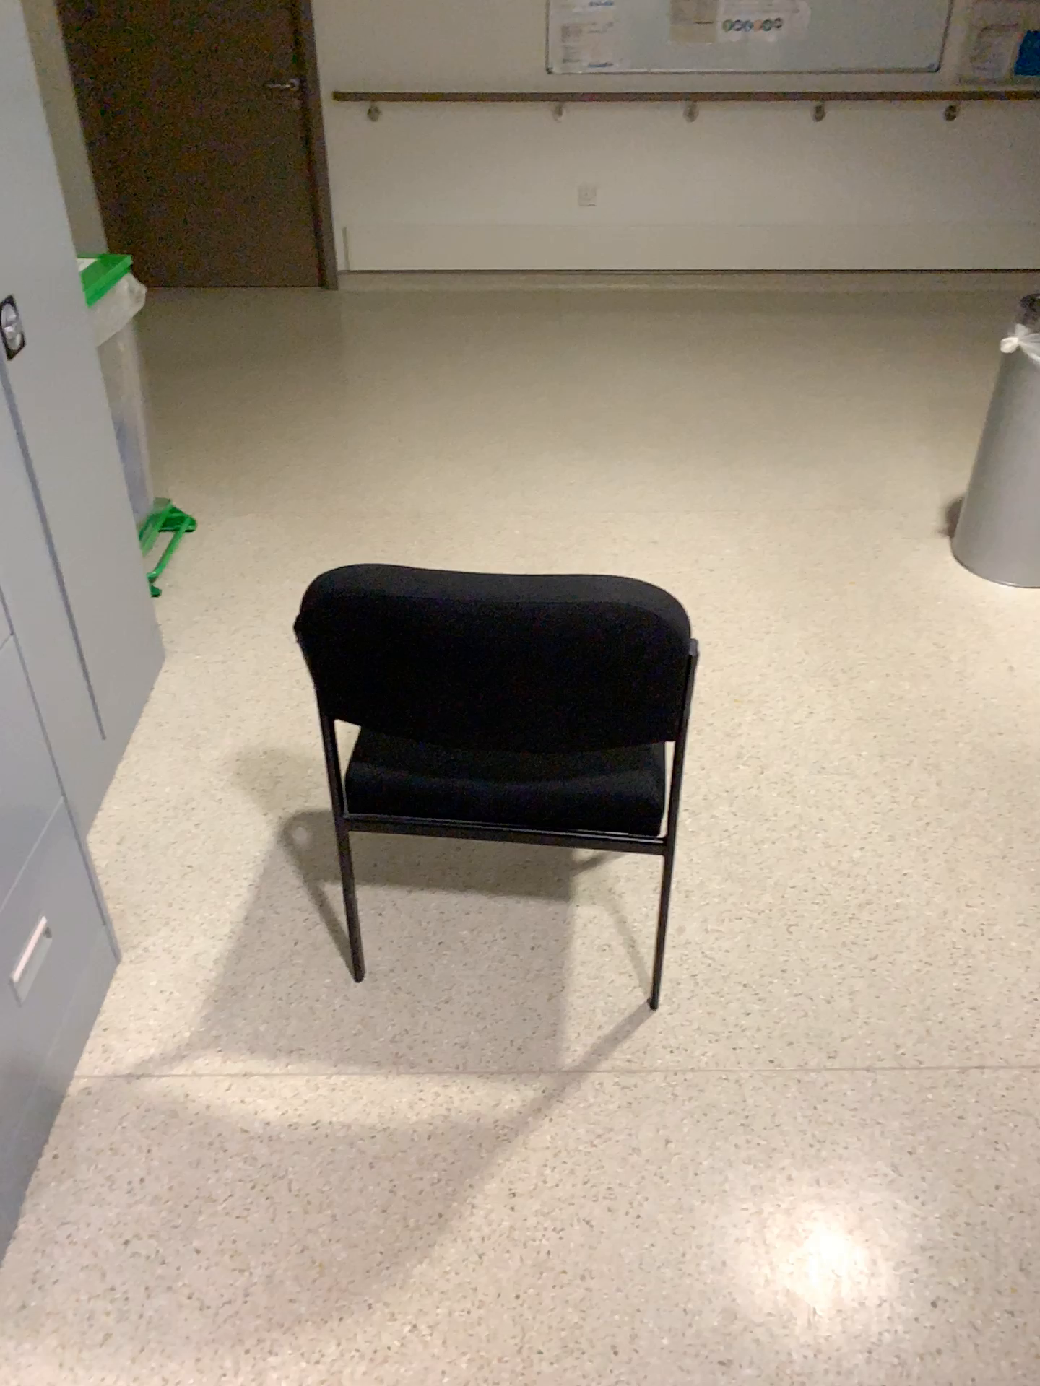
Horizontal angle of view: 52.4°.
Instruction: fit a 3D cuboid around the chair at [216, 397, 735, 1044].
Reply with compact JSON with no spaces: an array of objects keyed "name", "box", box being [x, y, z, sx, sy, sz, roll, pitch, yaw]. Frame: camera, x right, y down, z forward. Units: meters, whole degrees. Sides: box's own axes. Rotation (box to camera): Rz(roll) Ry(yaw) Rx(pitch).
[{"name":"chair","box":[-0.032,0.039,1.758,0.630,0.852,0.596,3,35,4]}]
